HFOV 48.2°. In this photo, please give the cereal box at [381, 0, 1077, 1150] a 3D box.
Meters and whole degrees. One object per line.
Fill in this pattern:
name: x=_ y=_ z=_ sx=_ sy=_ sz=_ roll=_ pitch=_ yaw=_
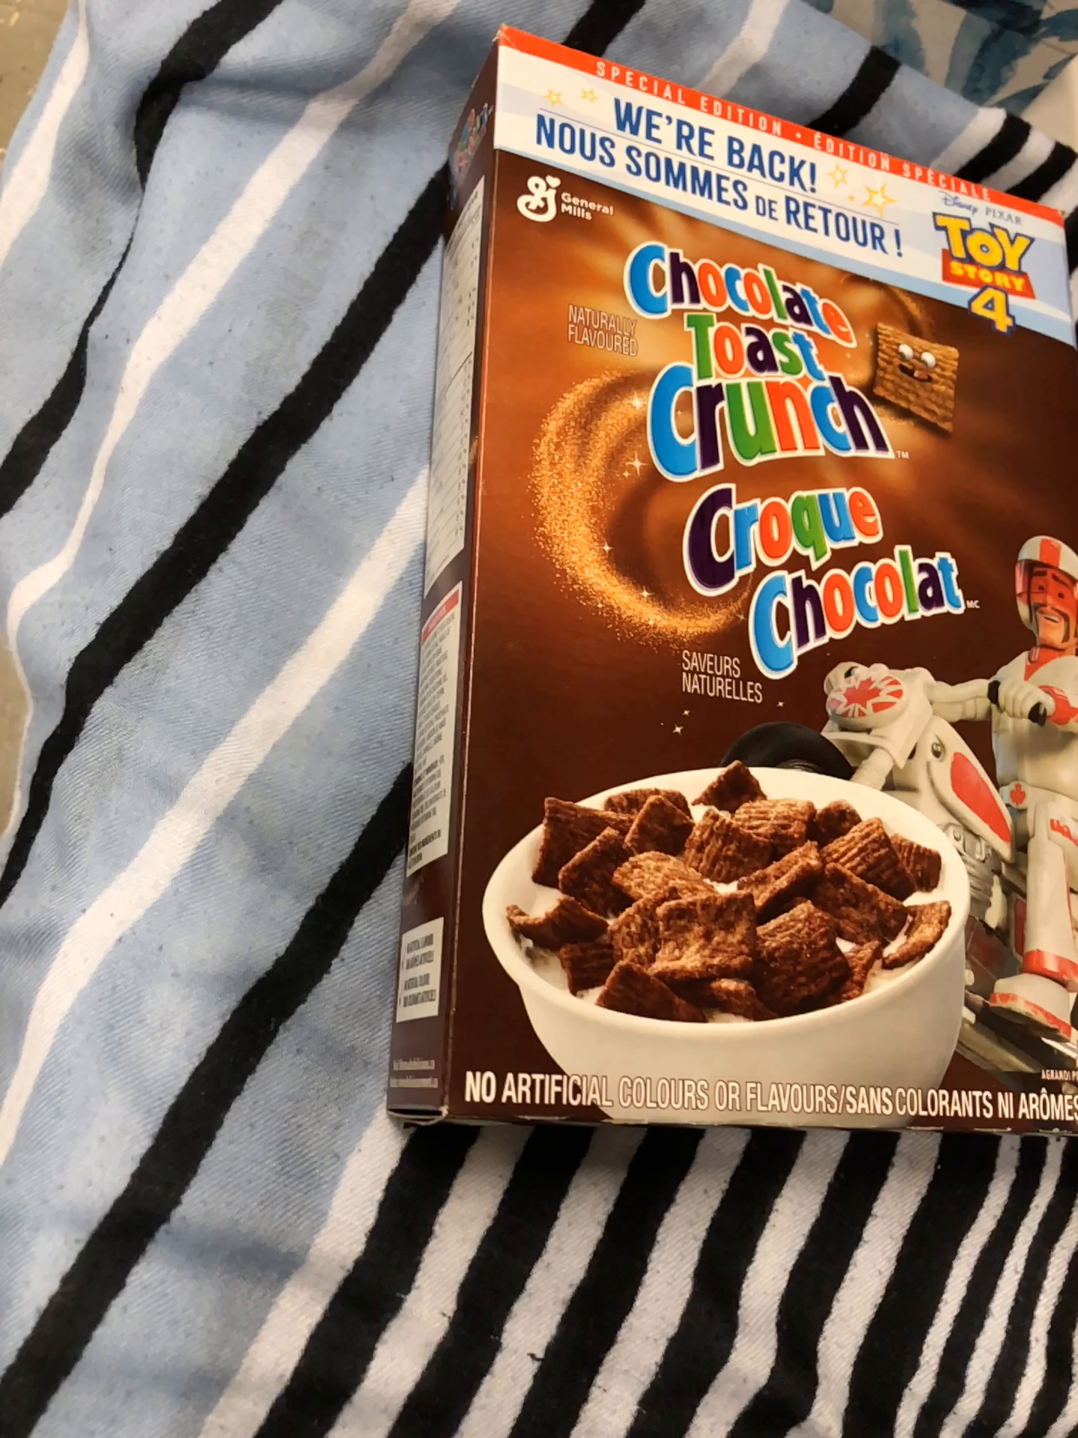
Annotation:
cereal box: x=0.076 y=-0.040 z=0.340 sx=0.210 sy=0.060 sz=0.300 roll=8 pitch=74 yaw=-20
